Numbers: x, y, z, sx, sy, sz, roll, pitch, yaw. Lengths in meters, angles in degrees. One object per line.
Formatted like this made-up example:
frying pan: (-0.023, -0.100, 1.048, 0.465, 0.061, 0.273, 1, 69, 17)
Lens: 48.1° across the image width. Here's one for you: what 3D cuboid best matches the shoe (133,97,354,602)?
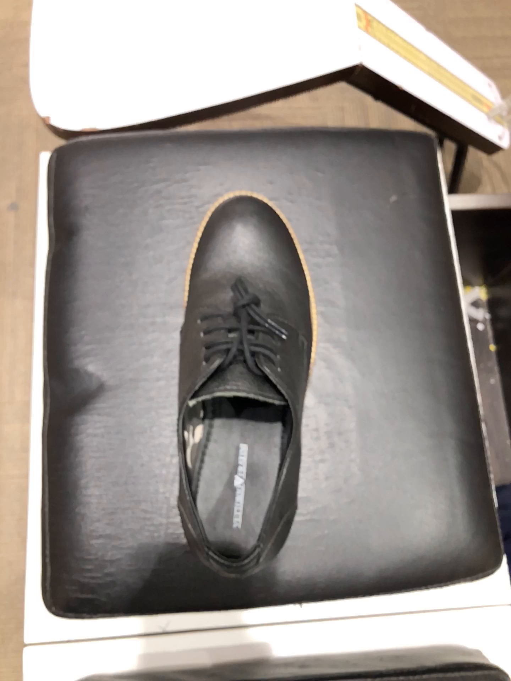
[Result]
shoe: (-0.008, 0.001, 0.370, 0.110, 0.100, 0.290, 0, 75, -2)
